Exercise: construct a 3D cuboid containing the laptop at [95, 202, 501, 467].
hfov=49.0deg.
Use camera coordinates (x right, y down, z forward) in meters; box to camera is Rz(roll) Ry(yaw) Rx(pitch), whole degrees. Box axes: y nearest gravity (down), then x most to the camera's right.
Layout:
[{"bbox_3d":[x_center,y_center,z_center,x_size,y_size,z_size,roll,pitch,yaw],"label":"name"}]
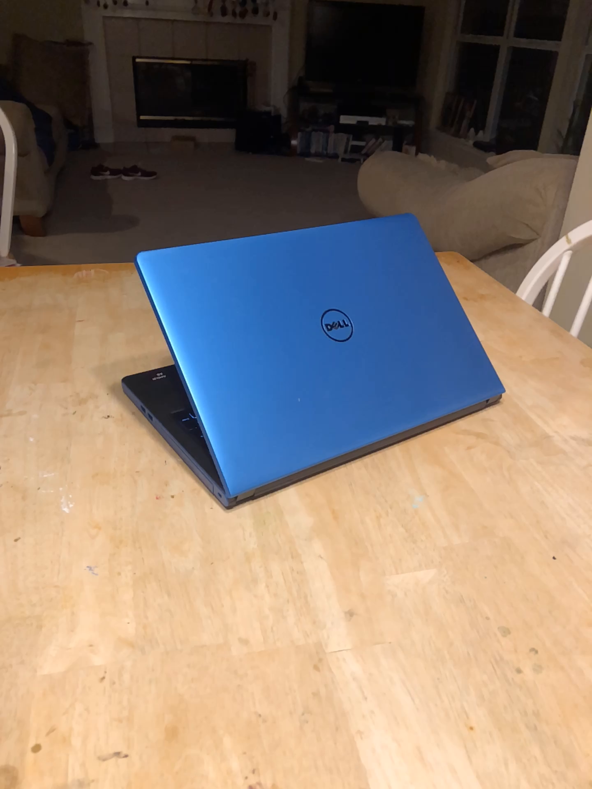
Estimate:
[{"bbox_3d":[0.001,-0.098,0.745,0.361,0.160,0.249,-18,35,-32],"label":"laptop"}]
